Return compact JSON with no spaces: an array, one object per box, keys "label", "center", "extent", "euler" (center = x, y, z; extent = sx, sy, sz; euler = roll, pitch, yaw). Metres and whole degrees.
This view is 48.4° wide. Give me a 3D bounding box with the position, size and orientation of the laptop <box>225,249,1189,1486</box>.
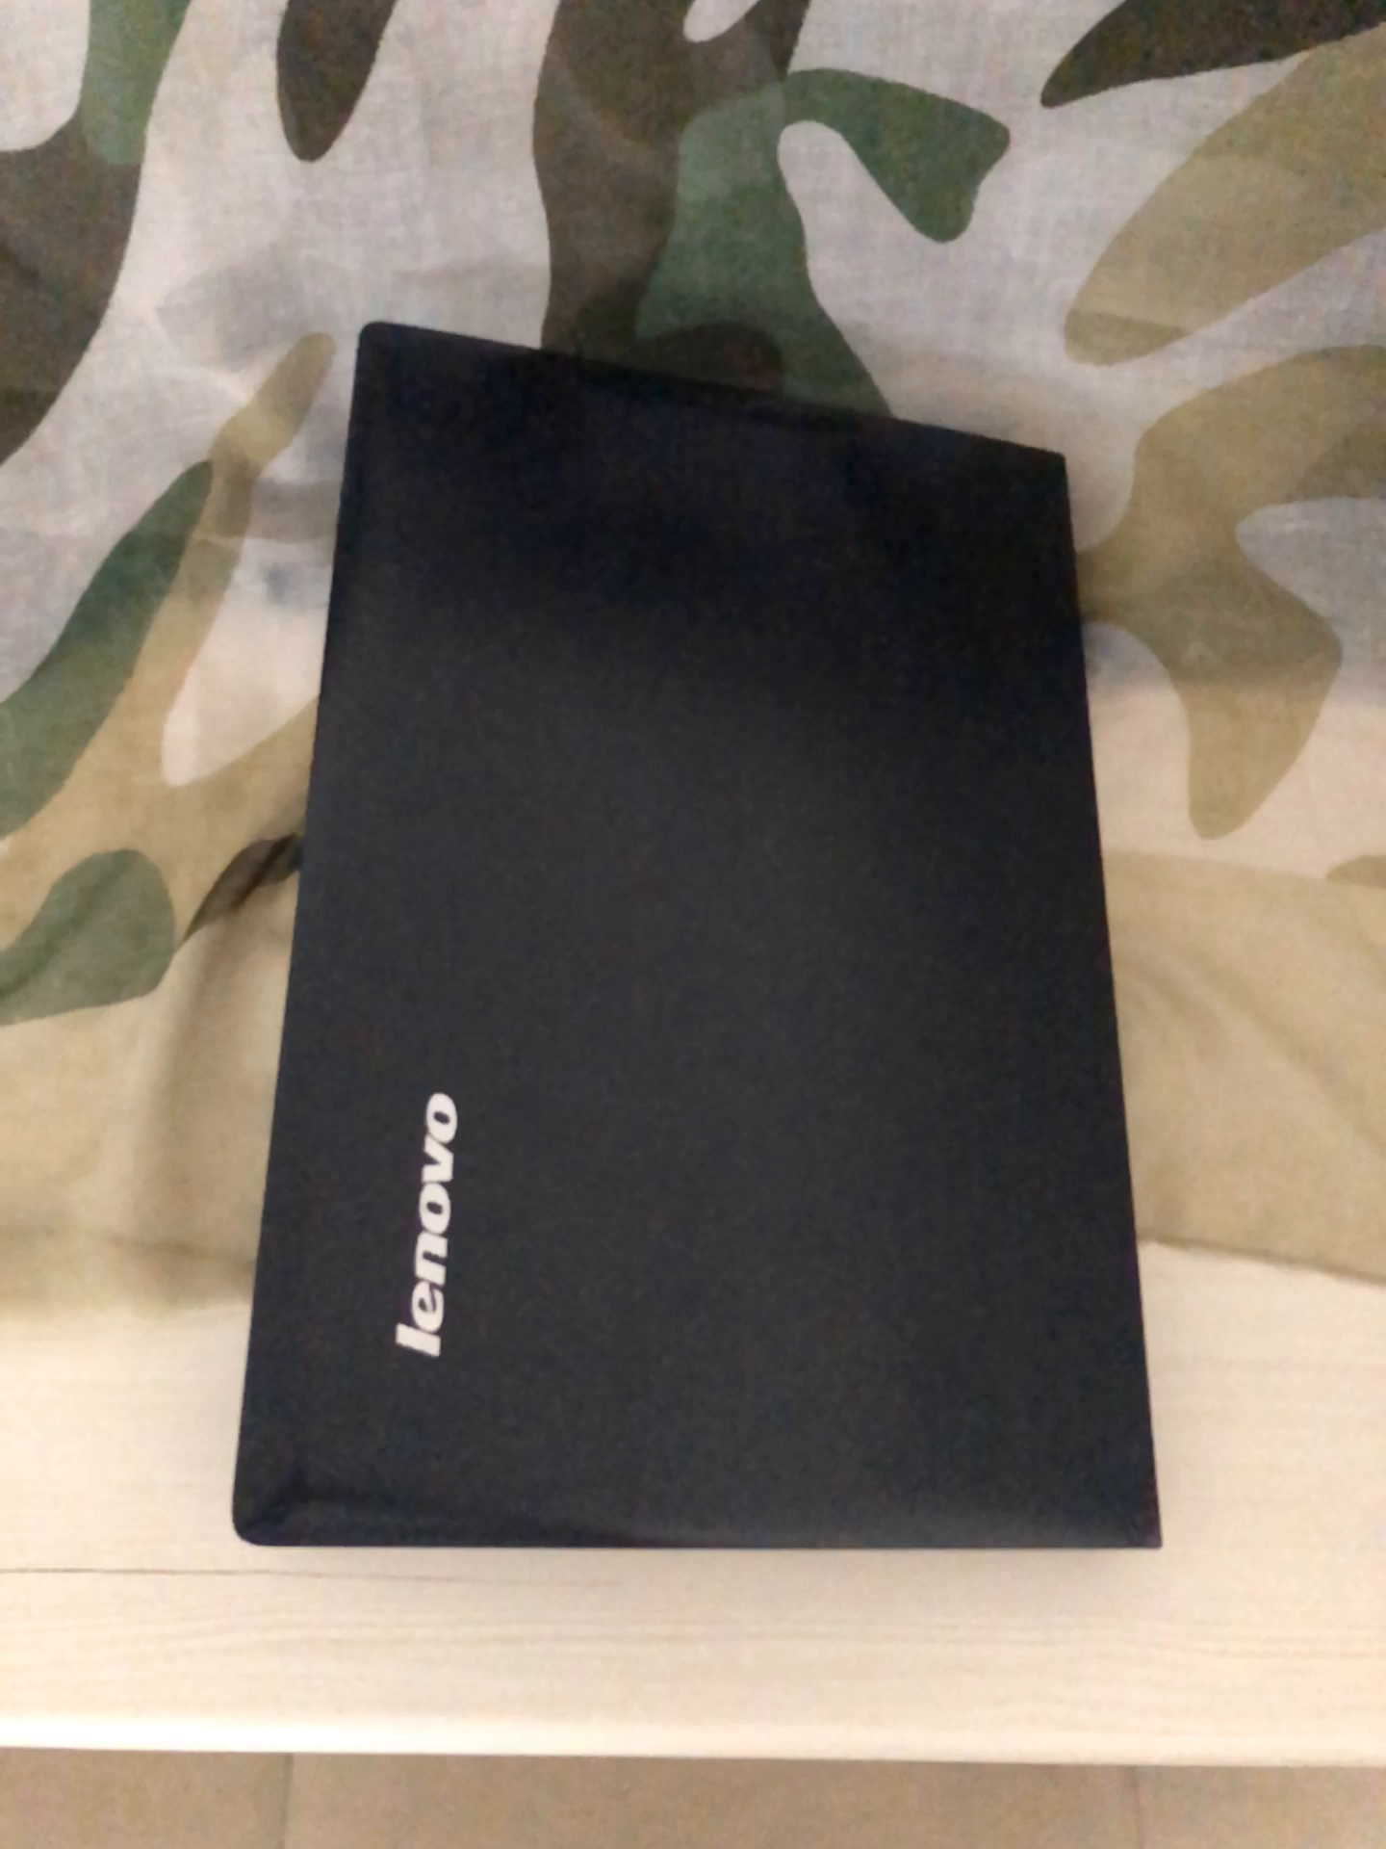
[{"label":"laptop","center":[0.011,-0.030,0.491],"extent":[0.249,0.059,0.386],"euler":[3,69,-5]}]
